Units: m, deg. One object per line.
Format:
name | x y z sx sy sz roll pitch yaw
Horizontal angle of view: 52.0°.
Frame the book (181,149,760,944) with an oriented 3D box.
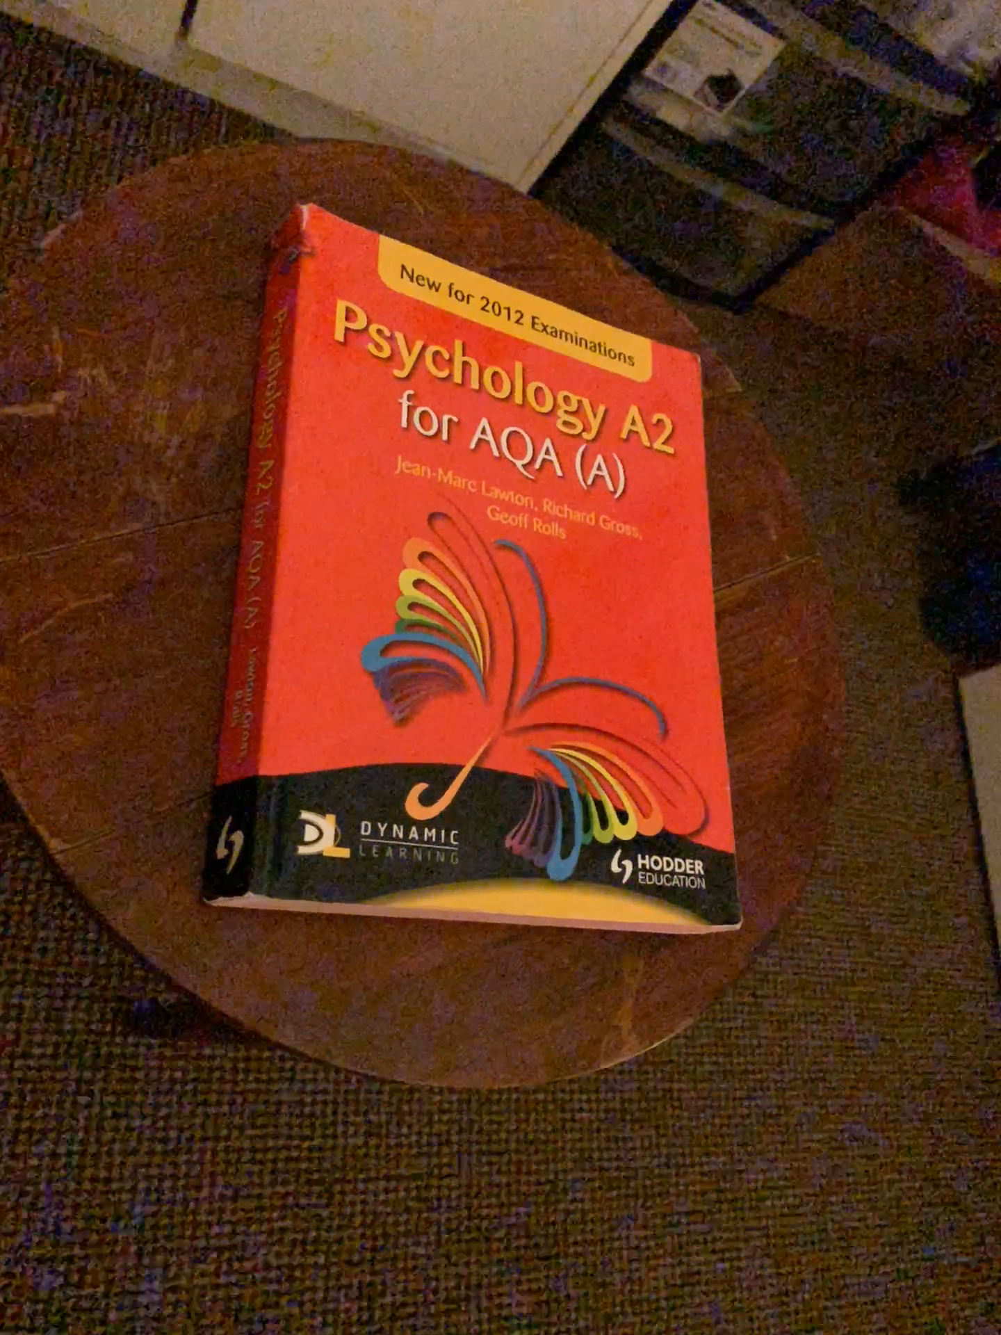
book | -0.001 -0.045 0.416 0.210 0.040 0.291 11 66 -27
